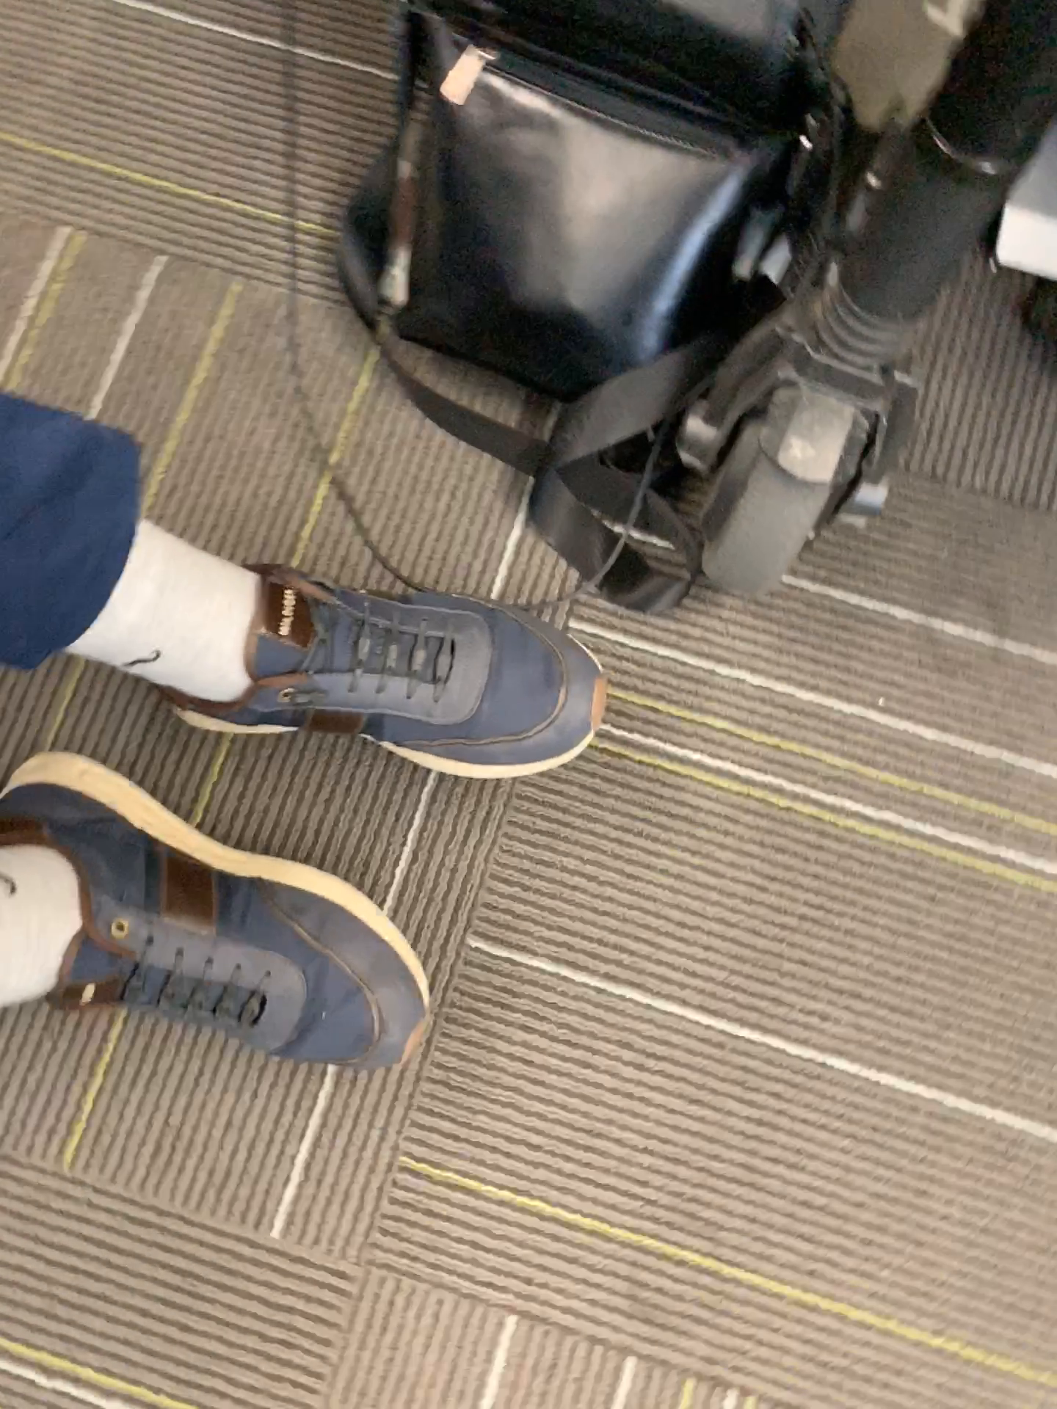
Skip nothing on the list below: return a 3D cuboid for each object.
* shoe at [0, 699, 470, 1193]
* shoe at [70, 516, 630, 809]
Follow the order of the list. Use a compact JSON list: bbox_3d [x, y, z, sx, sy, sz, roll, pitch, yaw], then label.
[{"bbox_3d":[-0.210,0.127,0.643,0.320,0.100,0.120,27,109,17],"label":"shoe"},{"bbox_3d":[-0.103,-0.026,0.650,0.300,0.100,0.120,8,79,16],"label":"shoe"}]
